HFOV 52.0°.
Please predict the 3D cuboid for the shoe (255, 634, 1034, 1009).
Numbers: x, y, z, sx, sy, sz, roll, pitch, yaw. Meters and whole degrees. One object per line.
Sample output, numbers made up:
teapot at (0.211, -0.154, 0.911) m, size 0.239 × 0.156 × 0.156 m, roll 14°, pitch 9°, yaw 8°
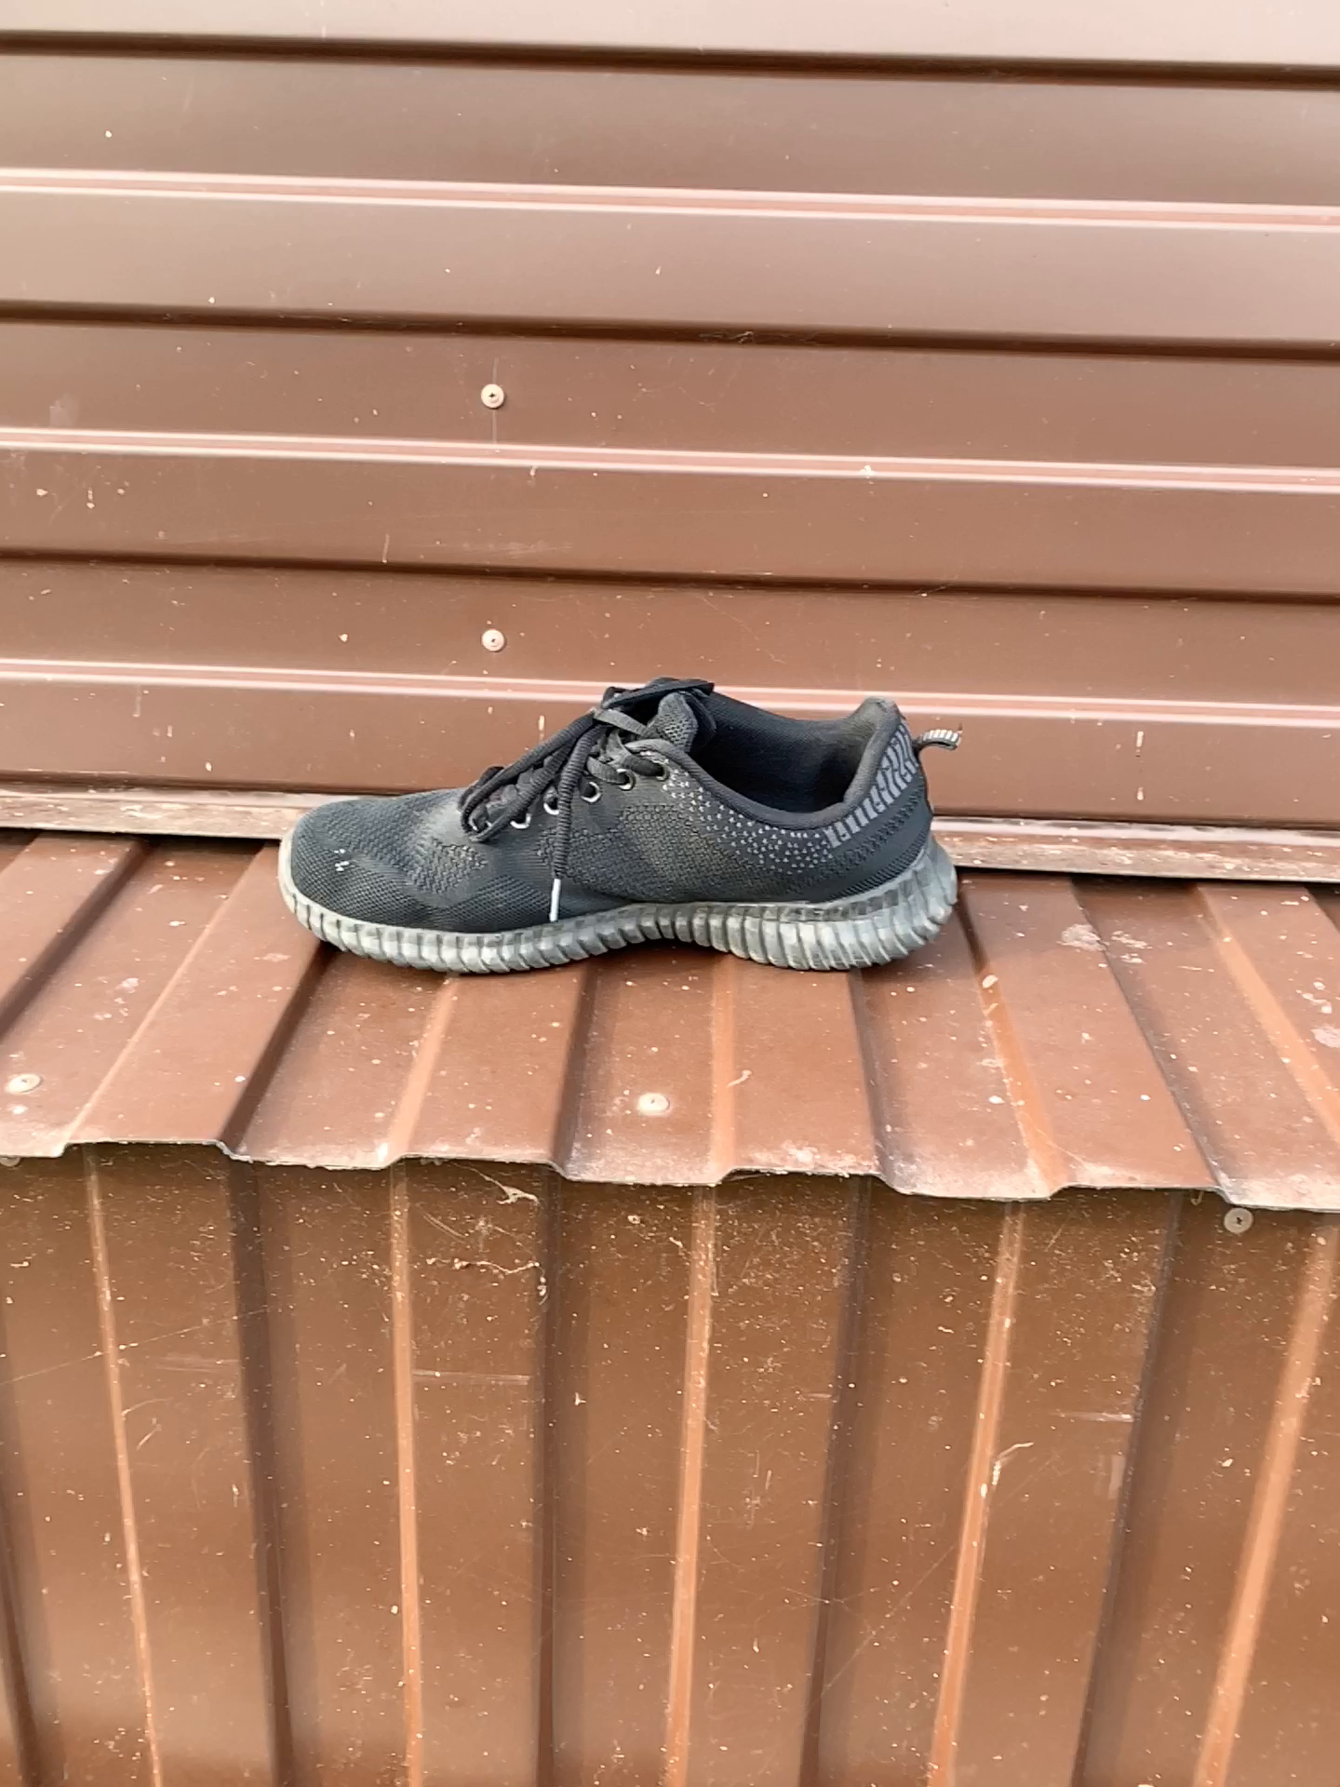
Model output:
shoe at (-0.012, -0.035, 0.610) m, size 0.300 × 0.119 × 0.121 m, roll 1°, pitch 28°, yaw -2°
